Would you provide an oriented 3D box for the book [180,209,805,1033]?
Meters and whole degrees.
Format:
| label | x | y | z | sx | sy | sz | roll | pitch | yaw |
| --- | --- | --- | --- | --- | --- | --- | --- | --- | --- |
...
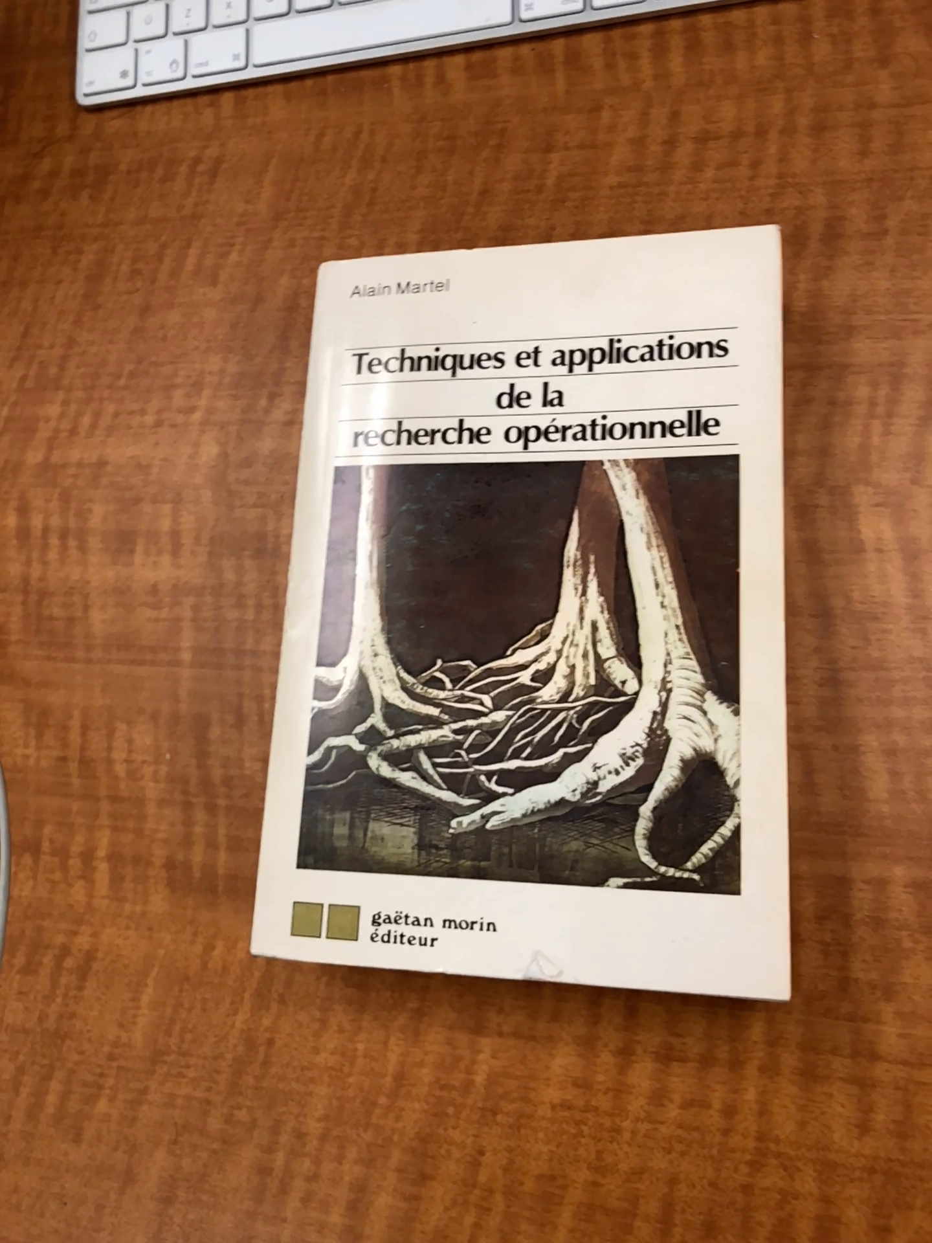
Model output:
| label | x | y | z | sx | sy | sz | roll | pitch | yaw |
| --- | --- | --- | --- | --- | --- | --- | --- | --- | --- |
| book | 0.016 | -0.003 | 0.334 | 0.170 | 0.070 | 0.230 | 0 | 76 | 14 |
